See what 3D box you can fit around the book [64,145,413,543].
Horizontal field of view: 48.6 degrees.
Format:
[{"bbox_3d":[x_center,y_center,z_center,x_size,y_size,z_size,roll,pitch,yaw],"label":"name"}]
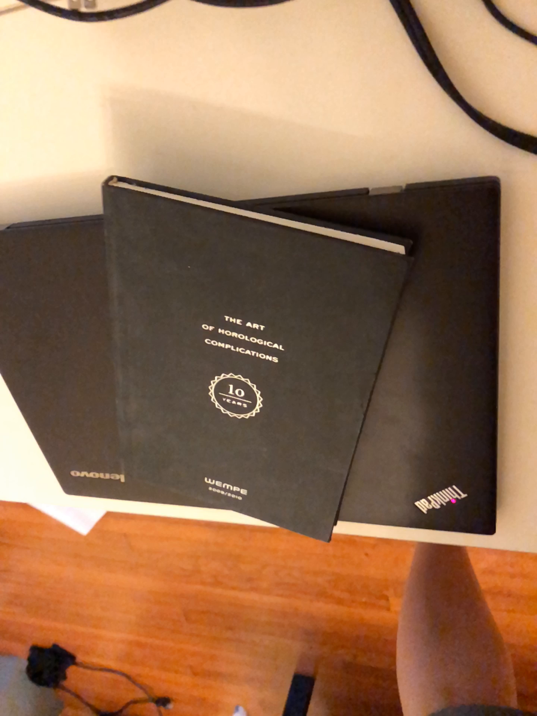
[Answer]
[{"bbox_3d":[-0.027,0.005,0.355,0.170,0.030,0.221,15,127,10],"label":"book"}]
